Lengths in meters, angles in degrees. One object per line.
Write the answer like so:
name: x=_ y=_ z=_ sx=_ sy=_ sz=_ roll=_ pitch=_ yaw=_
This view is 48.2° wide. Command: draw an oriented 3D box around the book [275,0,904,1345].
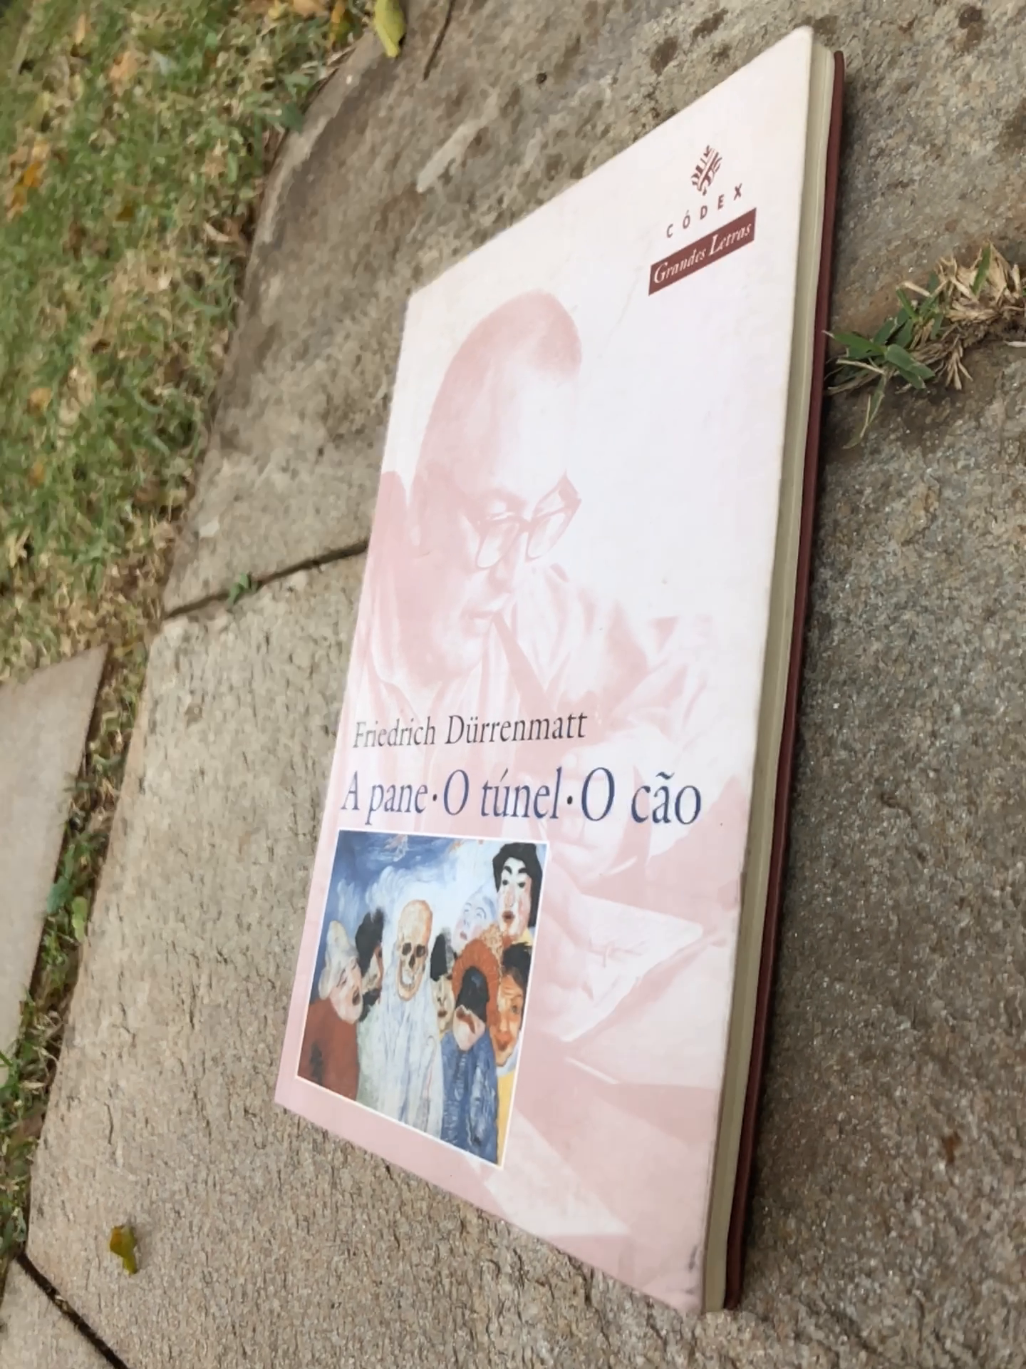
book: x=0.007 y=-0.008 z=0.233 sx=0.138 sy=0.020 sz=0.210 roll=-6 pitch=74 yaw=54
